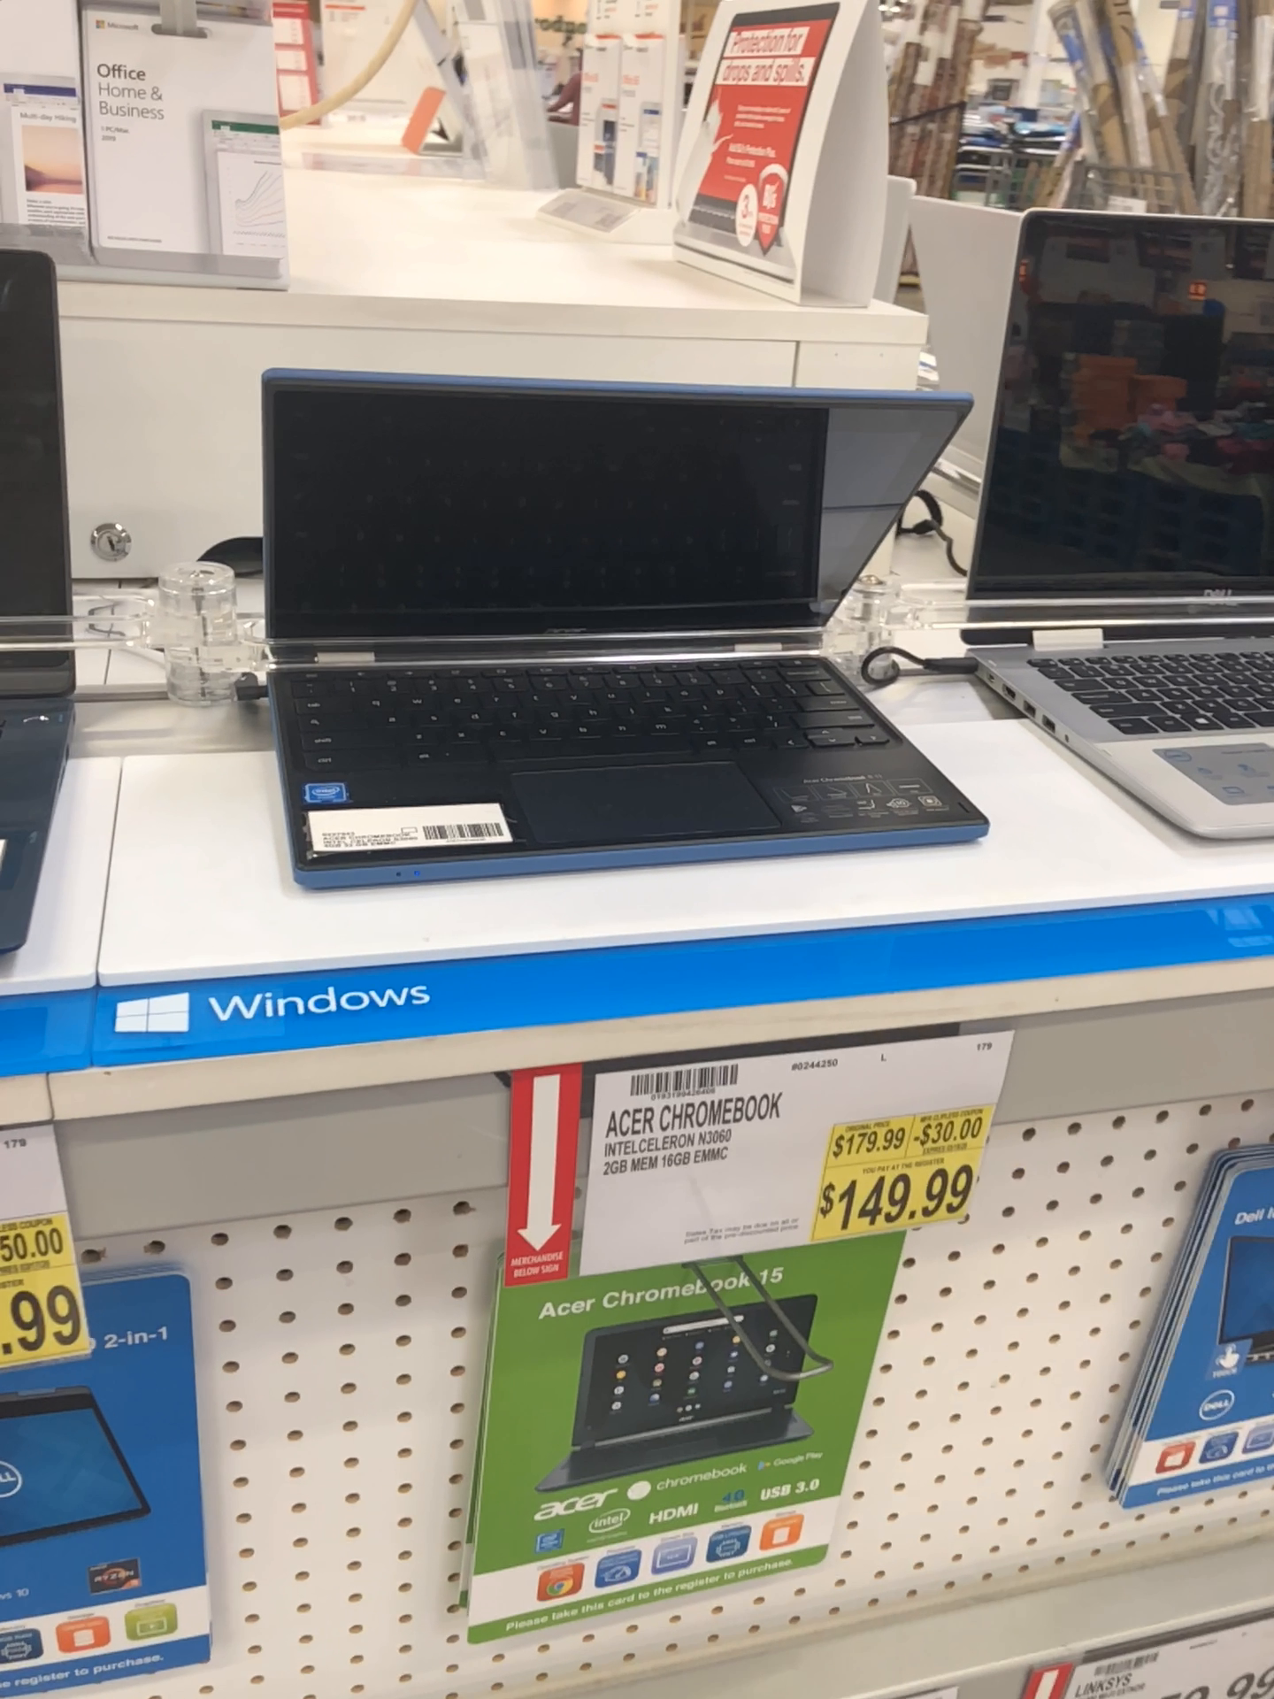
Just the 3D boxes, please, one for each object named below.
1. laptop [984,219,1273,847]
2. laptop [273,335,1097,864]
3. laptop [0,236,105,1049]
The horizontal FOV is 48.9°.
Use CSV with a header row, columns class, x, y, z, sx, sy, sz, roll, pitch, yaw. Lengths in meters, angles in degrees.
class,x,y,z,sx,sy,sz,roll,pitch,yaw
laptop,0.399,-0.183,0.714,0.341,0.218,0.257,-5,31,-14
laptop,0.001,-0.119,0.614,0.293,0.159,0.195,-3,29,-16
laptop,-0.382,-0.117,0.532,0.304,0.169,0.369,-4,28,-16
